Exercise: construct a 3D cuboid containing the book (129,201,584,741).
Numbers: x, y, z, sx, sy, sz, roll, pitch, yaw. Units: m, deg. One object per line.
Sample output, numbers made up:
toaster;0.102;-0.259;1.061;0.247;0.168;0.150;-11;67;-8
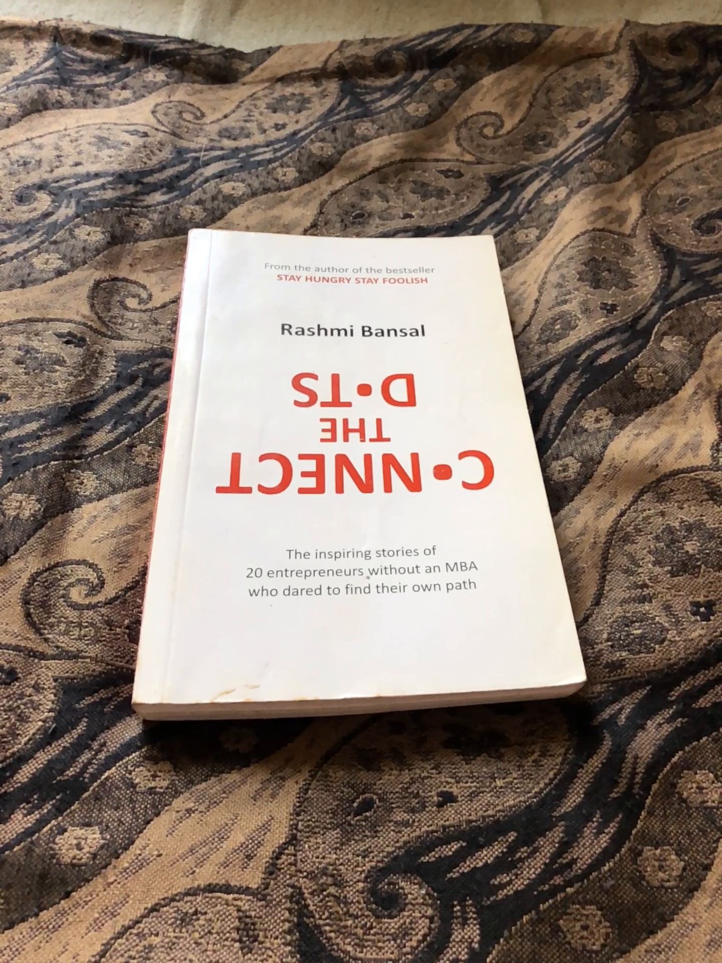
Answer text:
book;-0.005;-0.020;0.309;0.130;0.040;0.221;-2;55;-1
